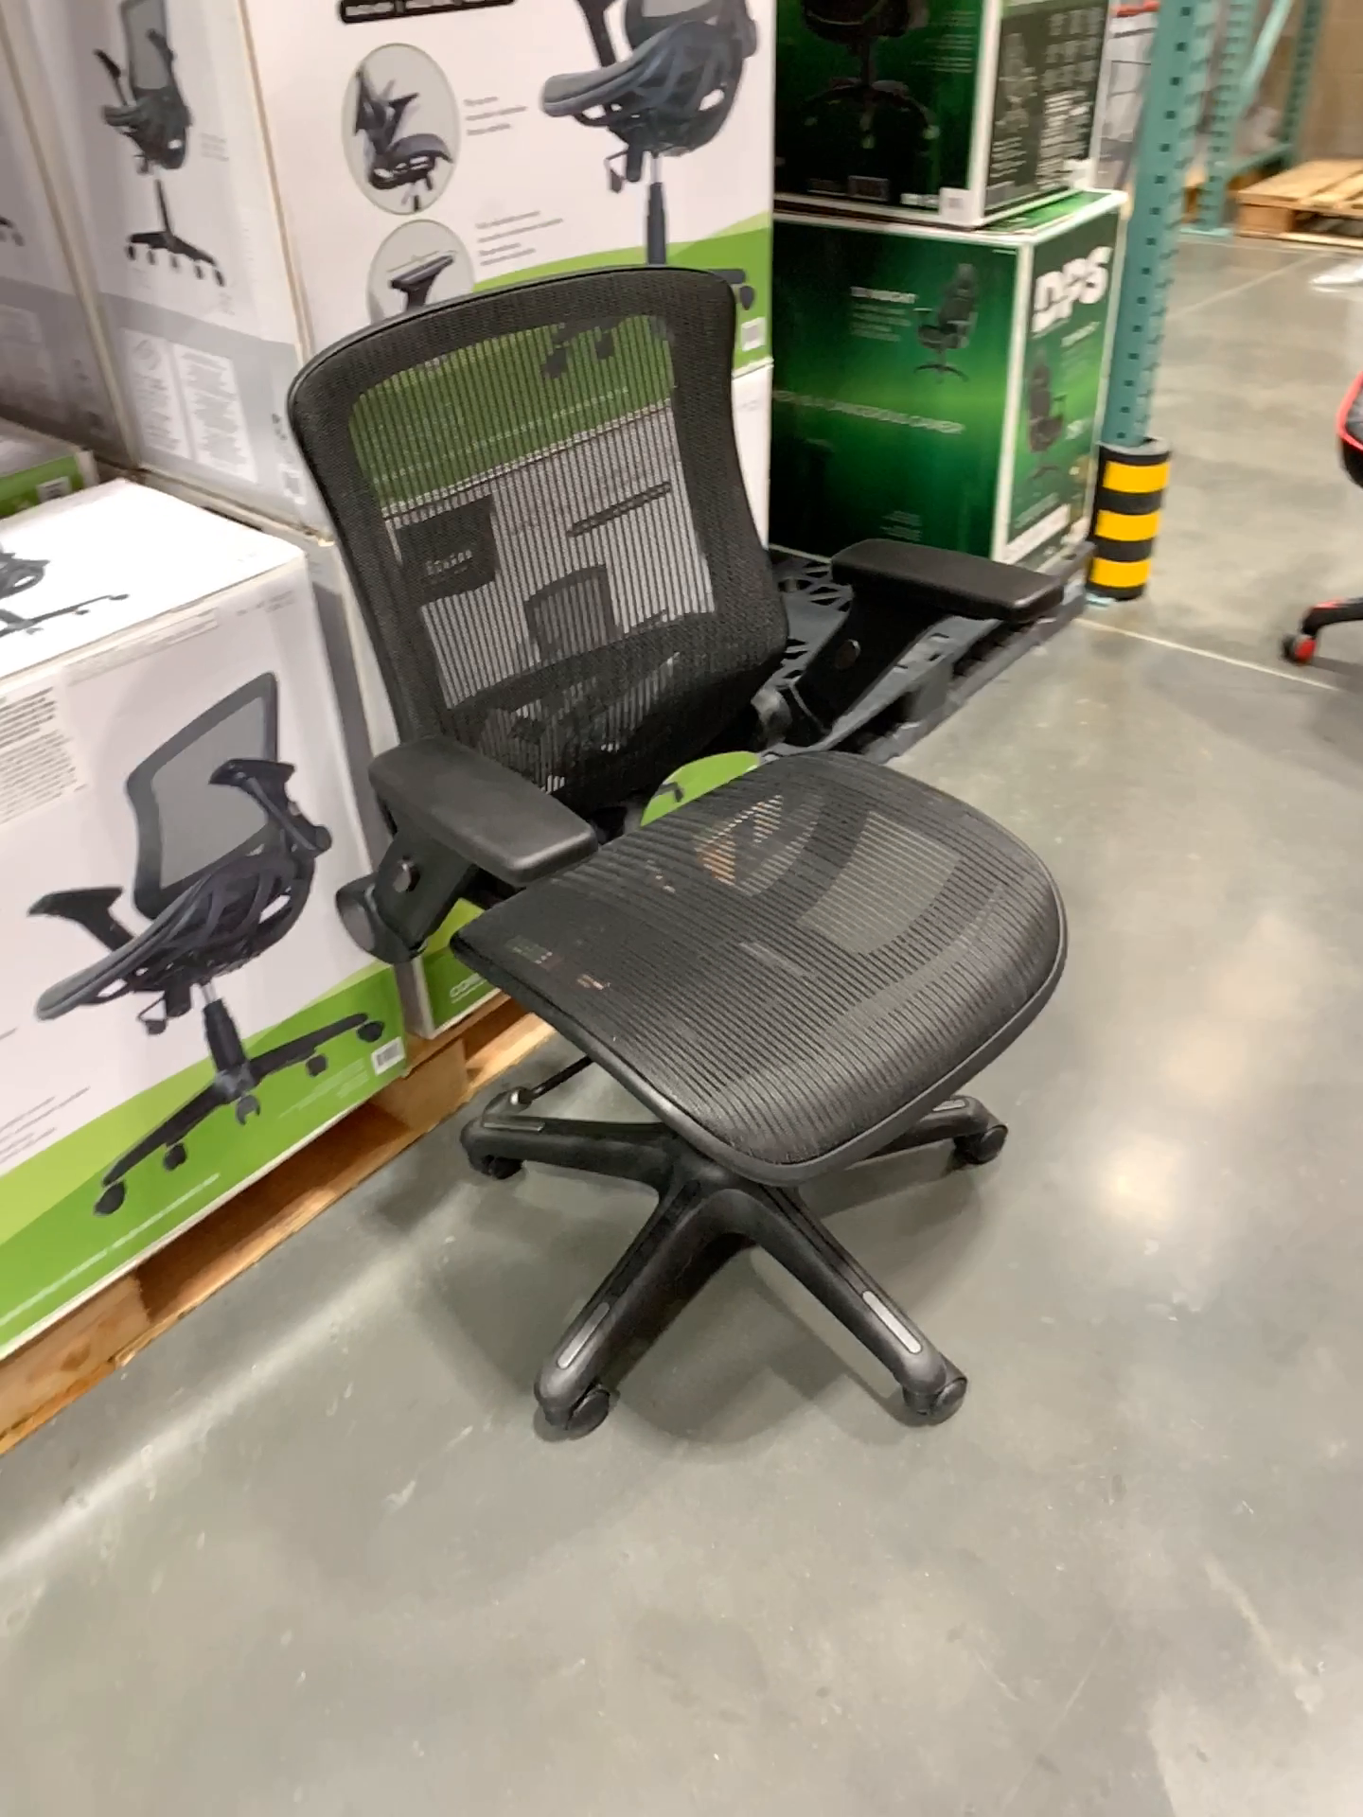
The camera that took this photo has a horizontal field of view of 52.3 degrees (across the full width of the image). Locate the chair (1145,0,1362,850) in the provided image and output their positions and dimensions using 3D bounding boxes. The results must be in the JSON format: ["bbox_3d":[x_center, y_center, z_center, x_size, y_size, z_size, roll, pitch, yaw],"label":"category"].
[{"bbox_3d":[1.442,-0.908,2.184,0.966,1.146,0.758,-26,43,-27],"label":"chair"}]

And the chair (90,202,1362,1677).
[{"bbox_3d":[0.060,-0.026,1.316,0.676,0.987,0.738,-30,44,-31],"label":"chair"}]
